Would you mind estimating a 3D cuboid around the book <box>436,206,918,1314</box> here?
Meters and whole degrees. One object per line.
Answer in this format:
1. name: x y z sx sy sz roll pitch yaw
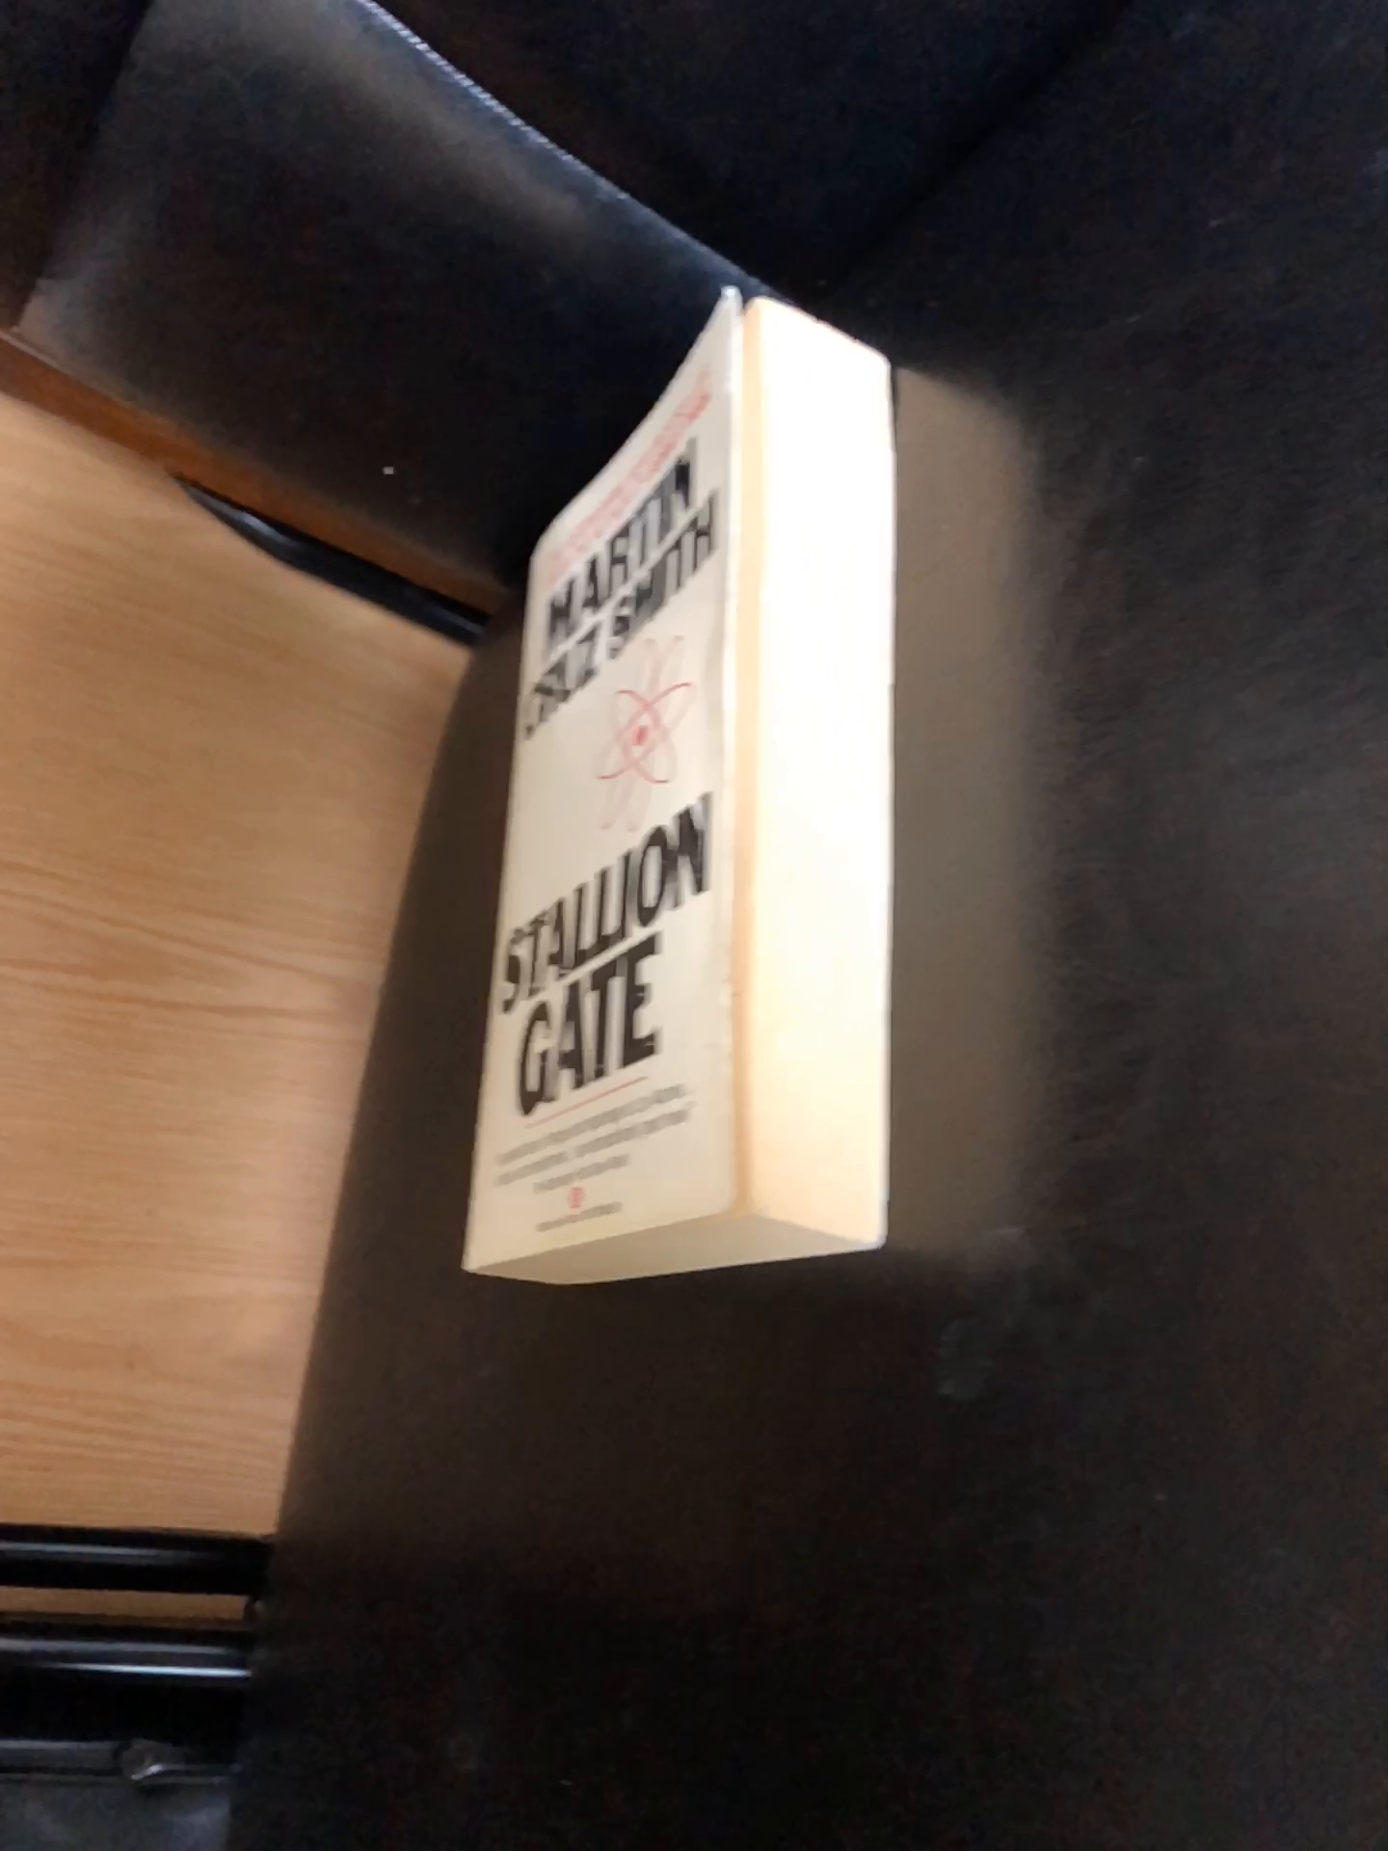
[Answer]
1. book: -0.004 -0.025 0.305 0.111 0.030 0.190 -25 56 55
